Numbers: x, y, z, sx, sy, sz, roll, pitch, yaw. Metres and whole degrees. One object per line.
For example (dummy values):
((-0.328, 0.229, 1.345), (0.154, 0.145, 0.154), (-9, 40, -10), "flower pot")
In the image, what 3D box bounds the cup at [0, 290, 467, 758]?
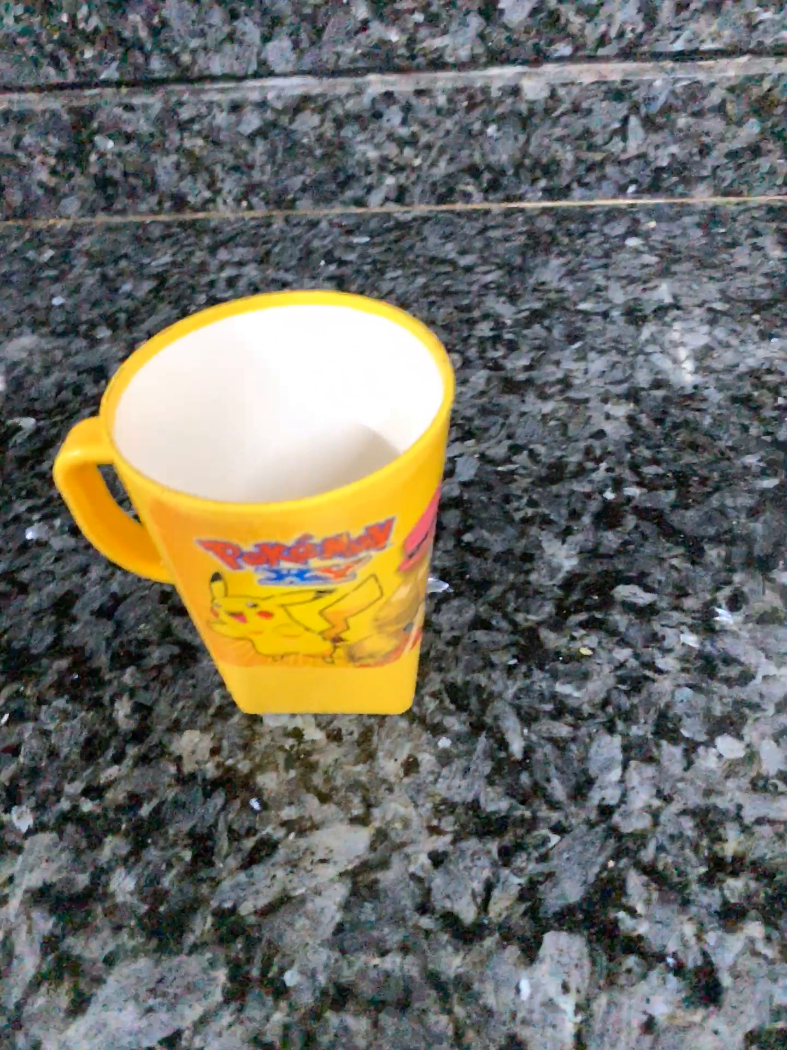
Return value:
((-0.032, 0.005, 0.226), (0.100, 0.109, 0.071), (-2, 46, 3), "cup")
